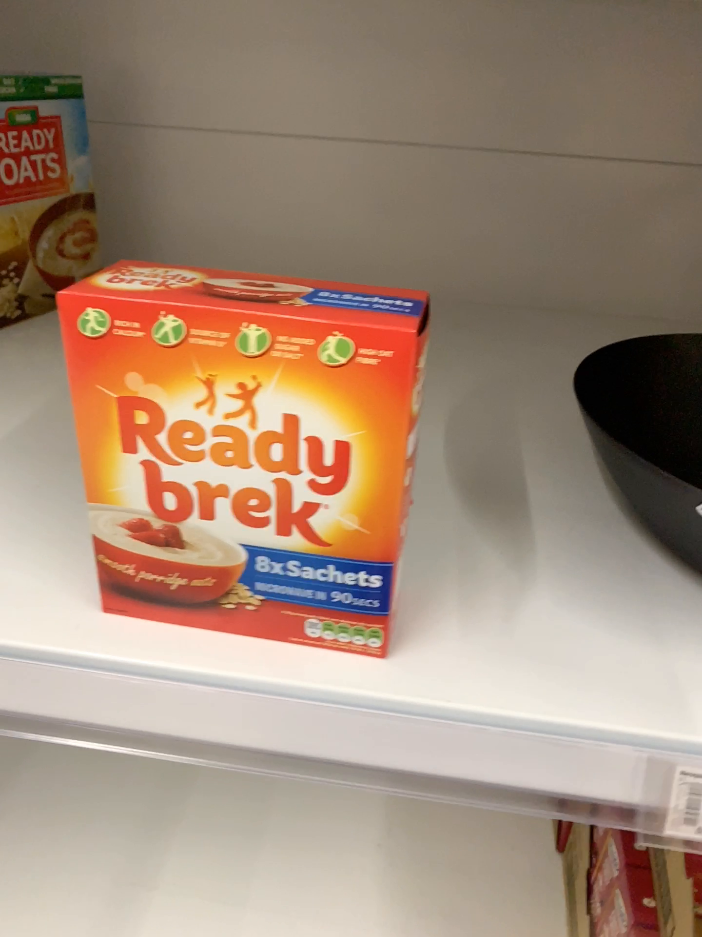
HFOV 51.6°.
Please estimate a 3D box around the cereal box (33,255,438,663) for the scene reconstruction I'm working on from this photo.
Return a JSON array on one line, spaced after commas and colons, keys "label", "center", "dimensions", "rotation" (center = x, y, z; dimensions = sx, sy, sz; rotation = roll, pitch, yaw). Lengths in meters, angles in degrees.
[{"label": "cereal box", "center": [-0.055, -0.004, 0.396], "dimensions": [0.180, 0.188, 0.071], "rotation": [8, 29, 7]}]
